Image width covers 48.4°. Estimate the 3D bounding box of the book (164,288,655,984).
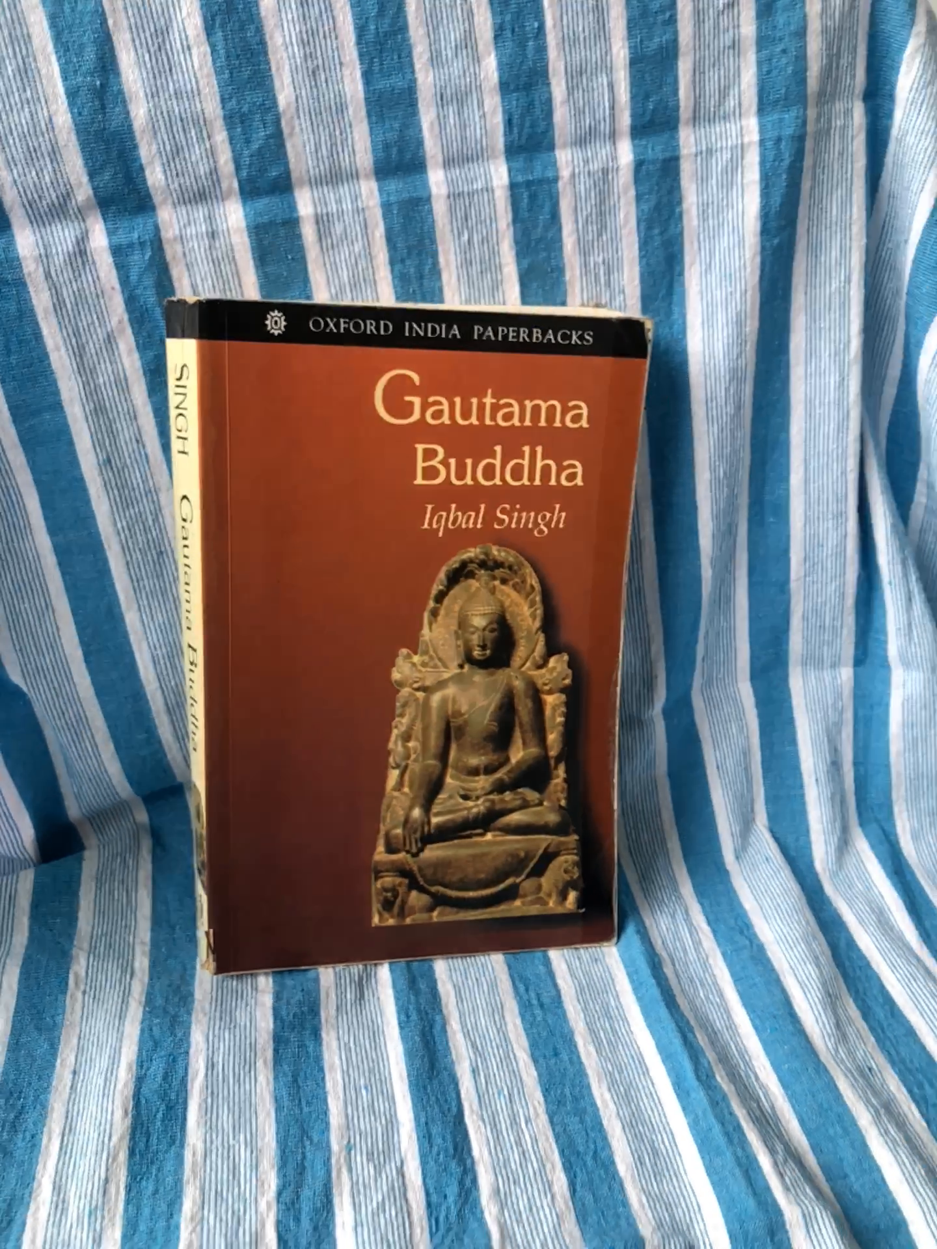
[{"bbox_3d":[-0.017,0.004,0.337,0.140,0.209,0.040,-2,12,-10],"label":"book"}]
